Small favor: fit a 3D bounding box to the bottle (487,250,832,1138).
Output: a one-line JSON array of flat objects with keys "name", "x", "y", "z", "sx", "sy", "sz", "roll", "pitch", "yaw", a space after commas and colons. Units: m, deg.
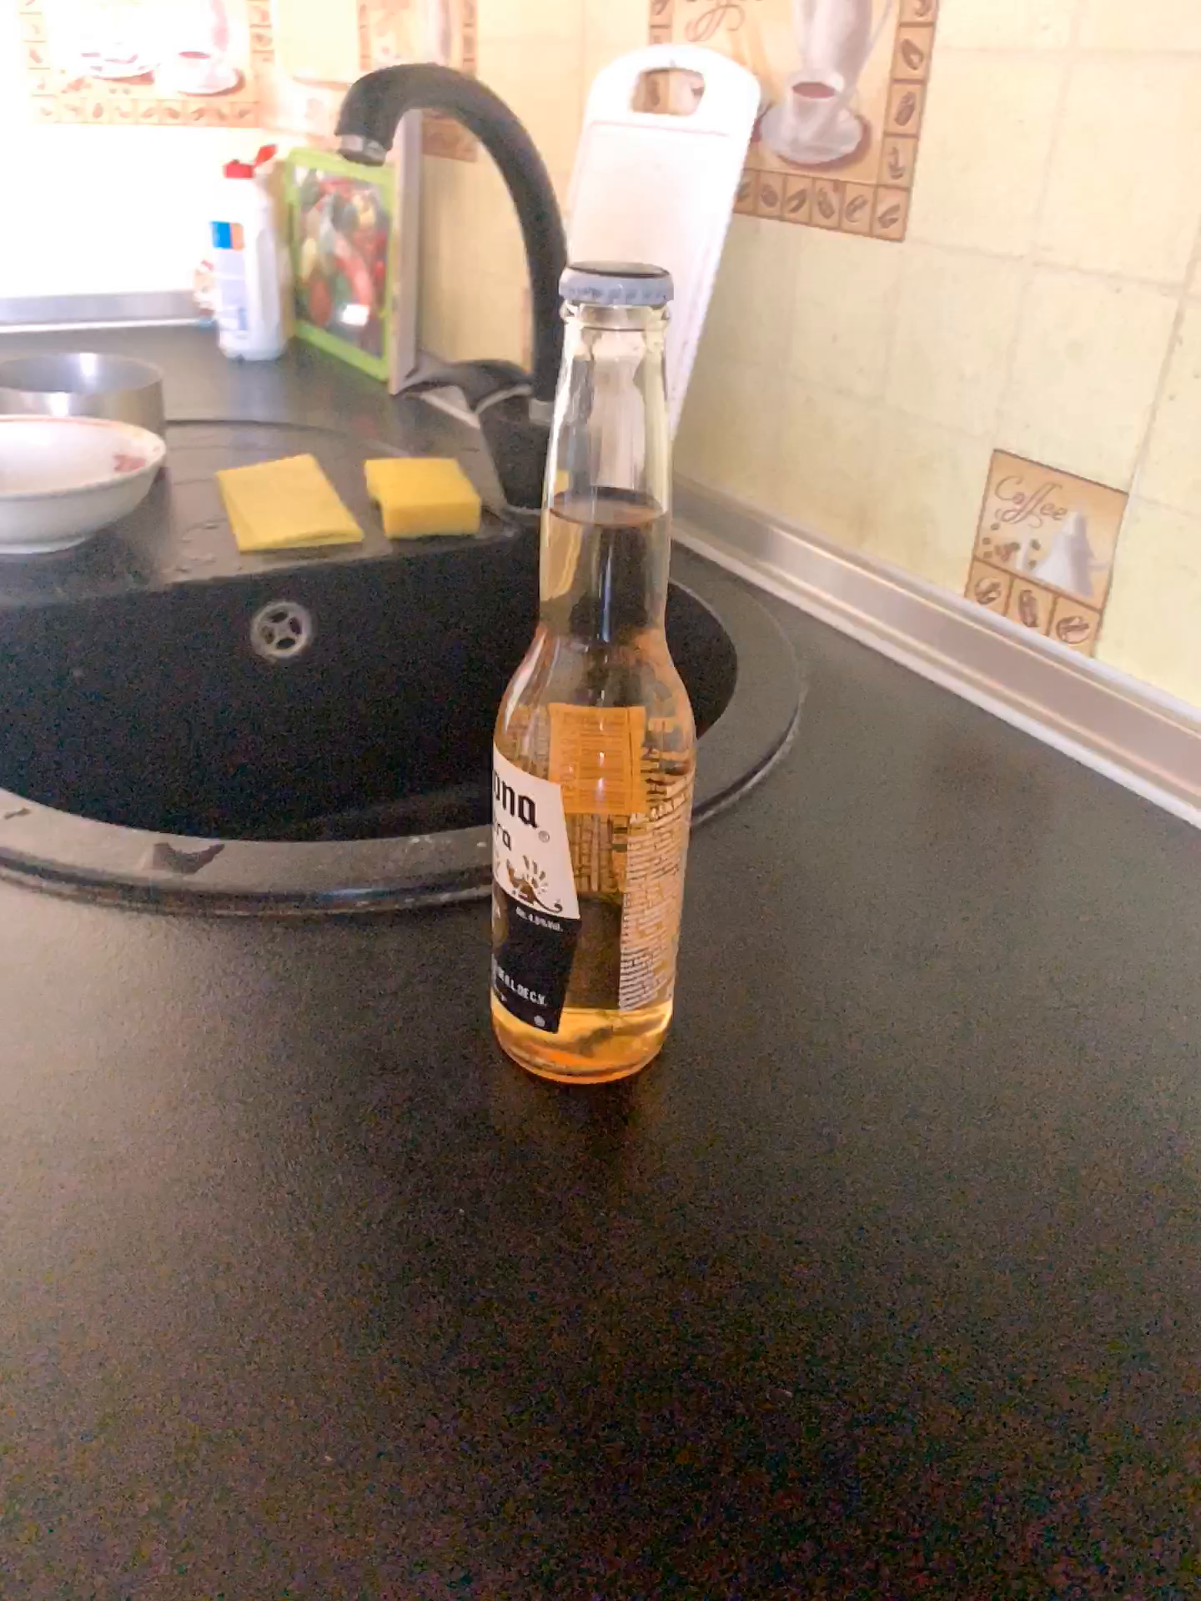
[{"name": "bottle", "x": 0.006, "y": -0.021, "z": 0.364, "sx": 0.070, "sy": 0.249, "sz": 0.070, "roll": 2, "pitch": 30, "yaw": -1}]
